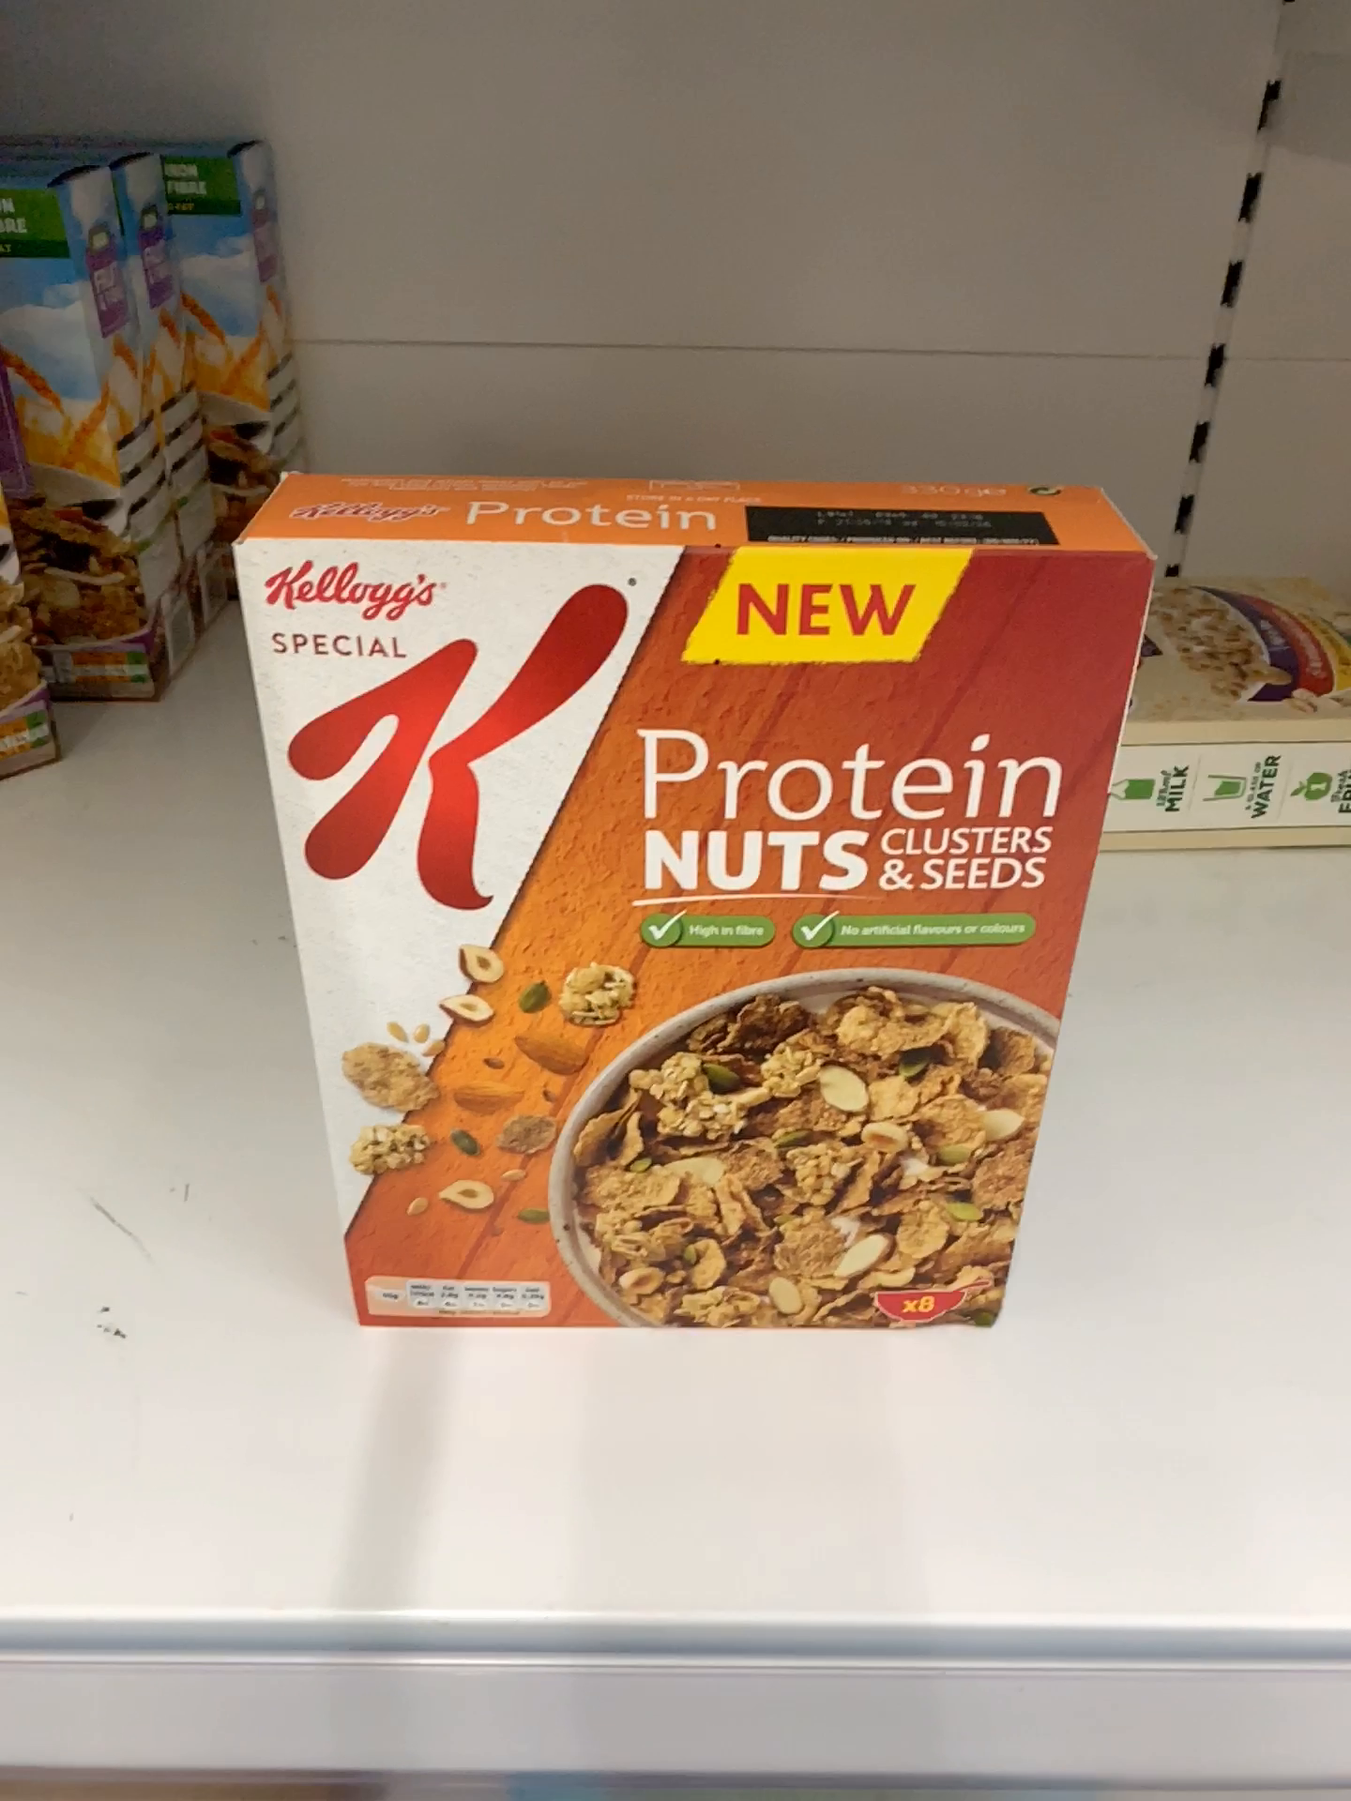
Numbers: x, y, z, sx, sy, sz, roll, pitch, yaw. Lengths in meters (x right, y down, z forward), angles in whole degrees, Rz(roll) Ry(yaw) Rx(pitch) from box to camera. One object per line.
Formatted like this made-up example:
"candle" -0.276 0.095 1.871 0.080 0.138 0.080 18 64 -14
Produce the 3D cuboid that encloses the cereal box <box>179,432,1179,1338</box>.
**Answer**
"cereal box" -0.001 0.007 0.371 0.200 0.238 0.071 1 32 -1
